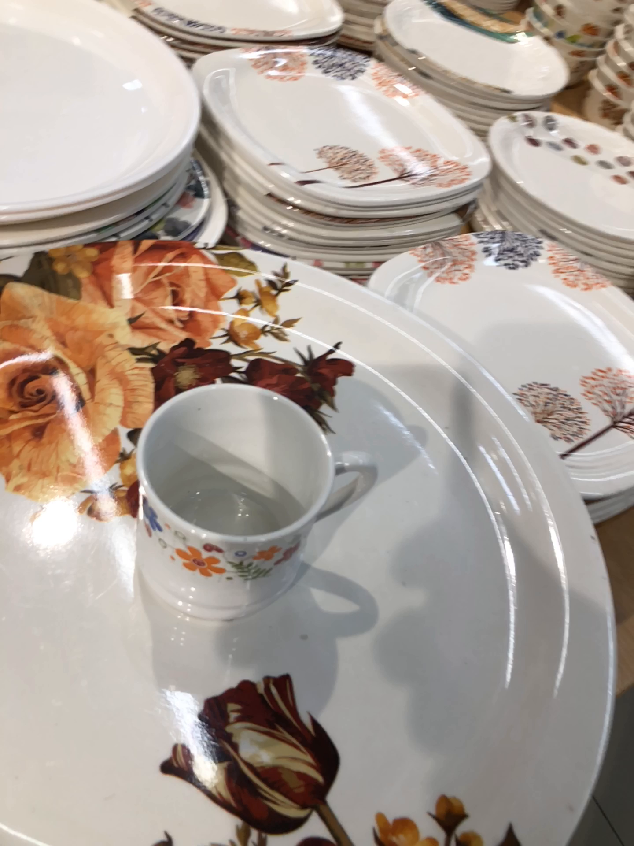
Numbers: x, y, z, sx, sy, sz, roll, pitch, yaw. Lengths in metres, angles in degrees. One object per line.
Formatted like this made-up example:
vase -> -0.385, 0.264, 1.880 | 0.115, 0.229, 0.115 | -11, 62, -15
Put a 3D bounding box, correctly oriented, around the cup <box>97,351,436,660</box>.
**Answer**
cup -> -0.026, 0.030, 0.270 | 0.100, 0.079, 0.070 | -8, 55, -25
